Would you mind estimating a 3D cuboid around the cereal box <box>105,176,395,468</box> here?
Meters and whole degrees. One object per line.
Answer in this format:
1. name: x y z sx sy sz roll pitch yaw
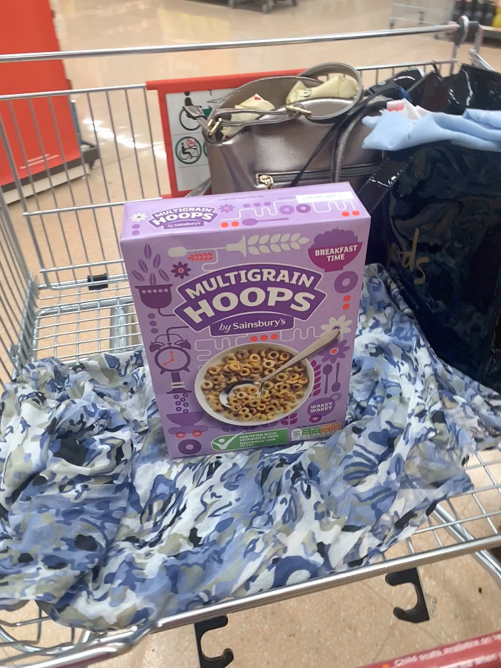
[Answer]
1. cereal box: 0.001 0.003 0.480 0.210 0.267 0.071 -6 40 -5
